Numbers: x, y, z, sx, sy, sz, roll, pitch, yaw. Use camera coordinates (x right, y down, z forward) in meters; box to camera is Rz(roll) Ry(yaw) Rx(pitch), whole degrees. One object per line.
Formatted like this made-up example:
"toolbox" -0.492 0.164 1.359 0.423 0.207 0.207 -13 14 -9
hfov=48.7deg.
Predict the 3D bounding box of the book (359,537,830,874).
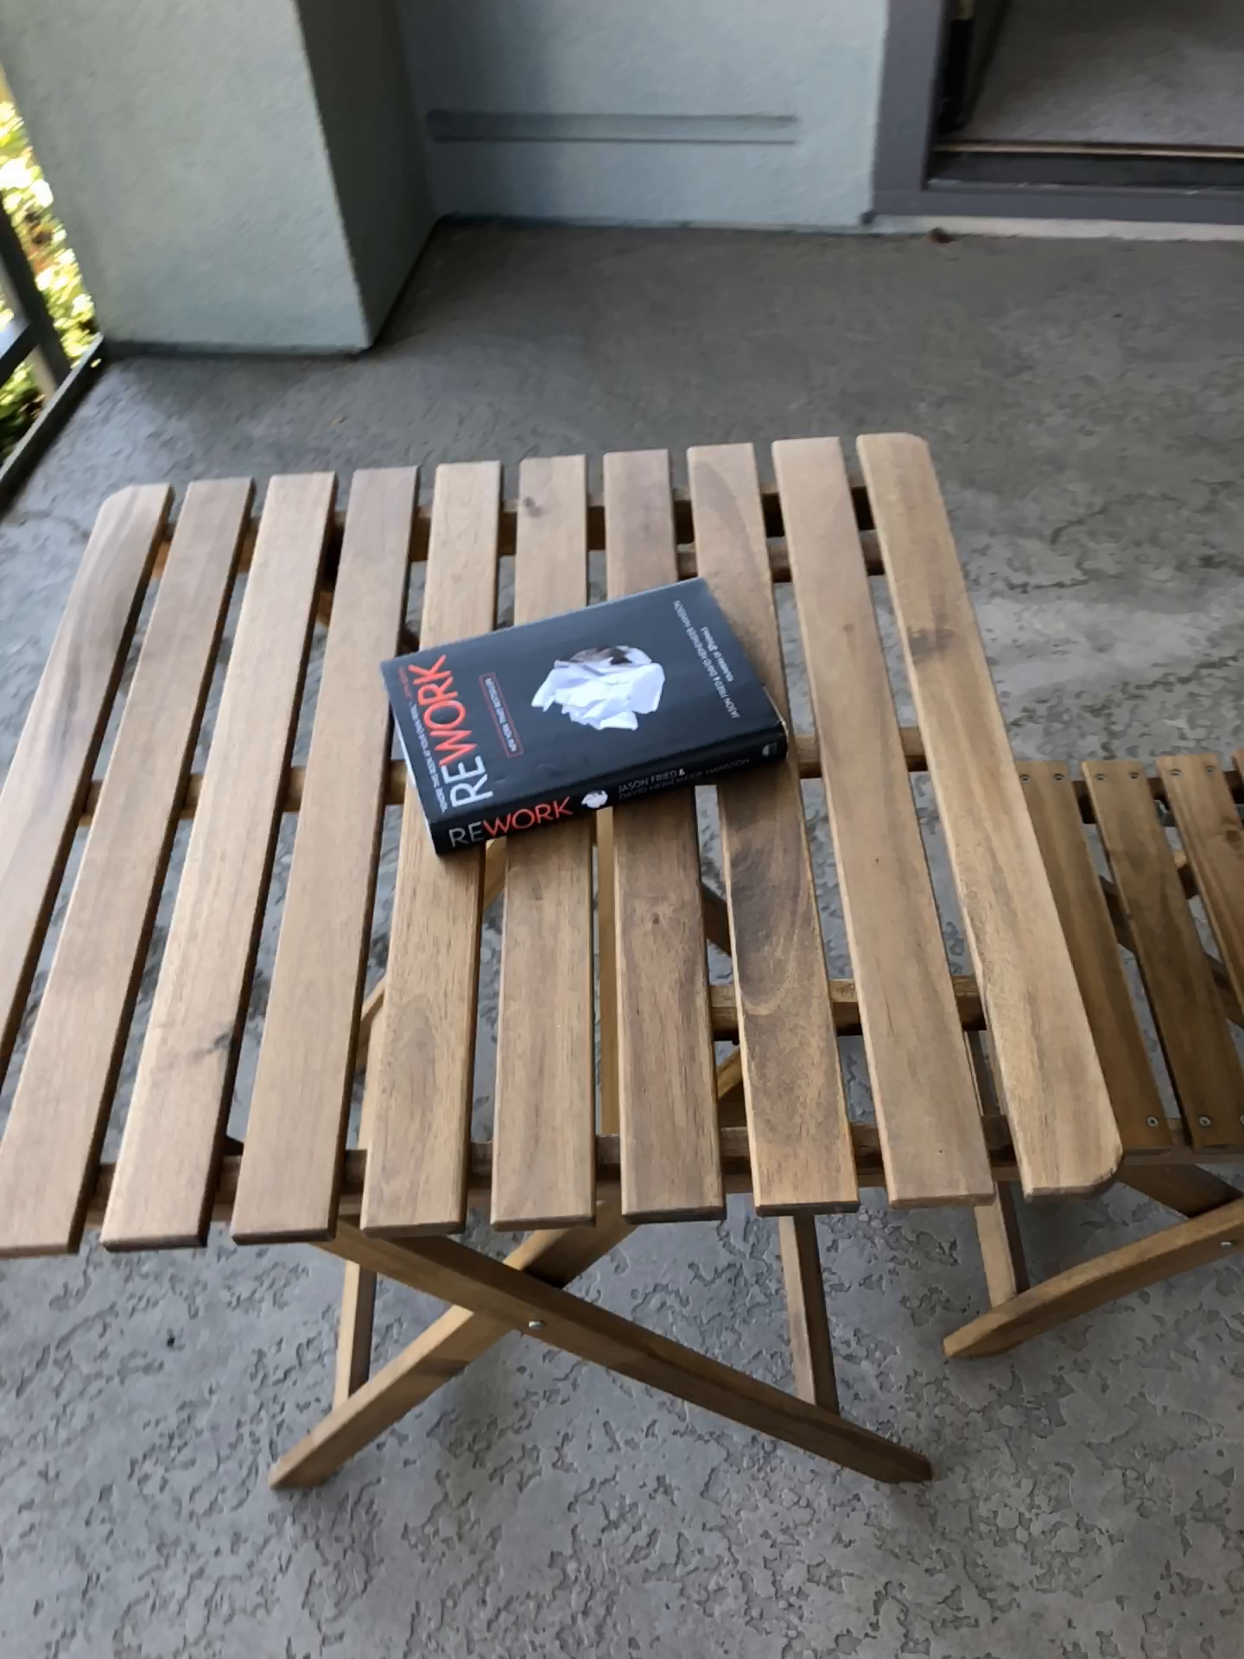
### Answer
"book" -0.021 -0.082 0.831 0.240 0.040 0.171 -16 51 -9
